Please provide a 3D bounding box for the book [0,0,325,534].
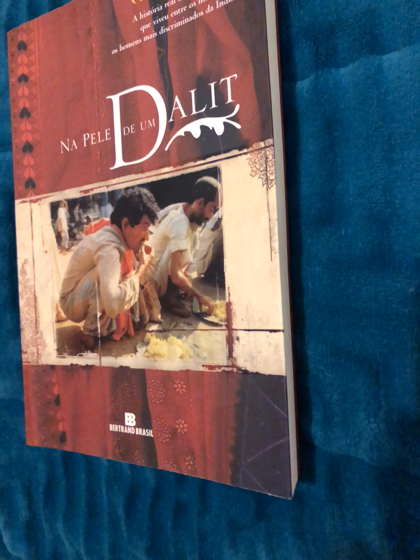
[{"bbox_3d":[-0.038,-0.026,0.207,0.161,0.030,0.220,-3,89,33],"label":"book"}]
